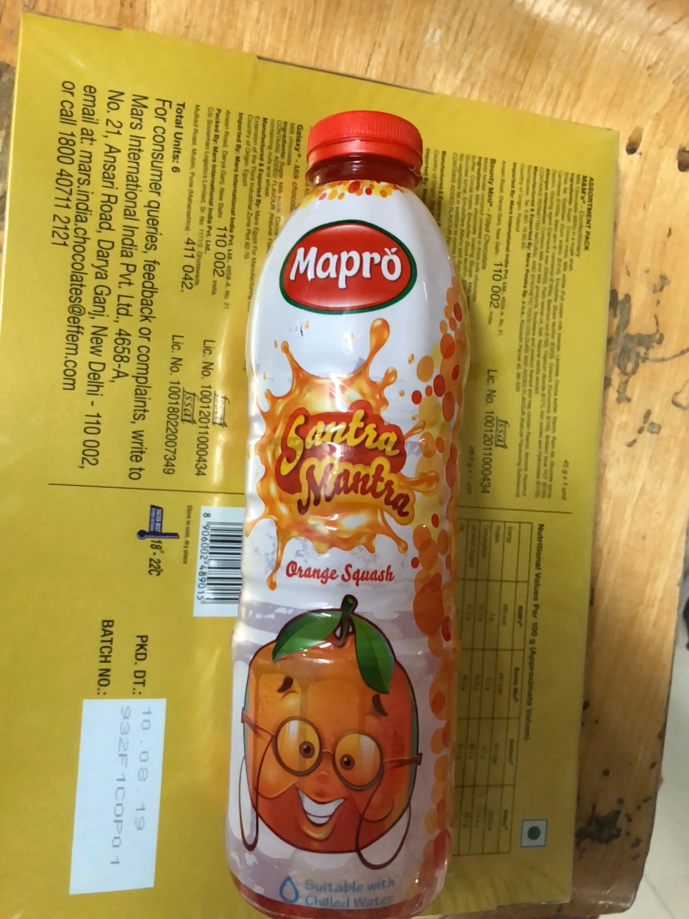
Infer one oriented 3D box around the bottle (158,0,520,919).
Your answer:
[{"bbox_3d":[0.001,0.004,0.286,0.090,0.090,0.300,4,93,26],"label":"bottle"}]
